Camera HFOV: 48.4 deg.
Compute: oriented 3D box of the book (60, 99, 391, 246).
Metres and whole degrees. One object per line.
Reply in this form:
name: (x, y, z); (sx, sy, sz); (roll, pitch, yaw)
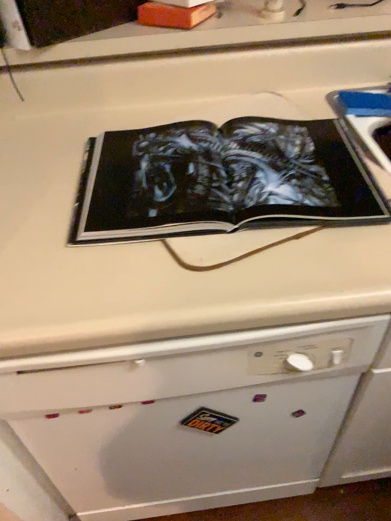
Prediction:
book: (0.052, -0.179, 0.792); (0.530, 0.040, 0.350); (-4, 45, 0)
